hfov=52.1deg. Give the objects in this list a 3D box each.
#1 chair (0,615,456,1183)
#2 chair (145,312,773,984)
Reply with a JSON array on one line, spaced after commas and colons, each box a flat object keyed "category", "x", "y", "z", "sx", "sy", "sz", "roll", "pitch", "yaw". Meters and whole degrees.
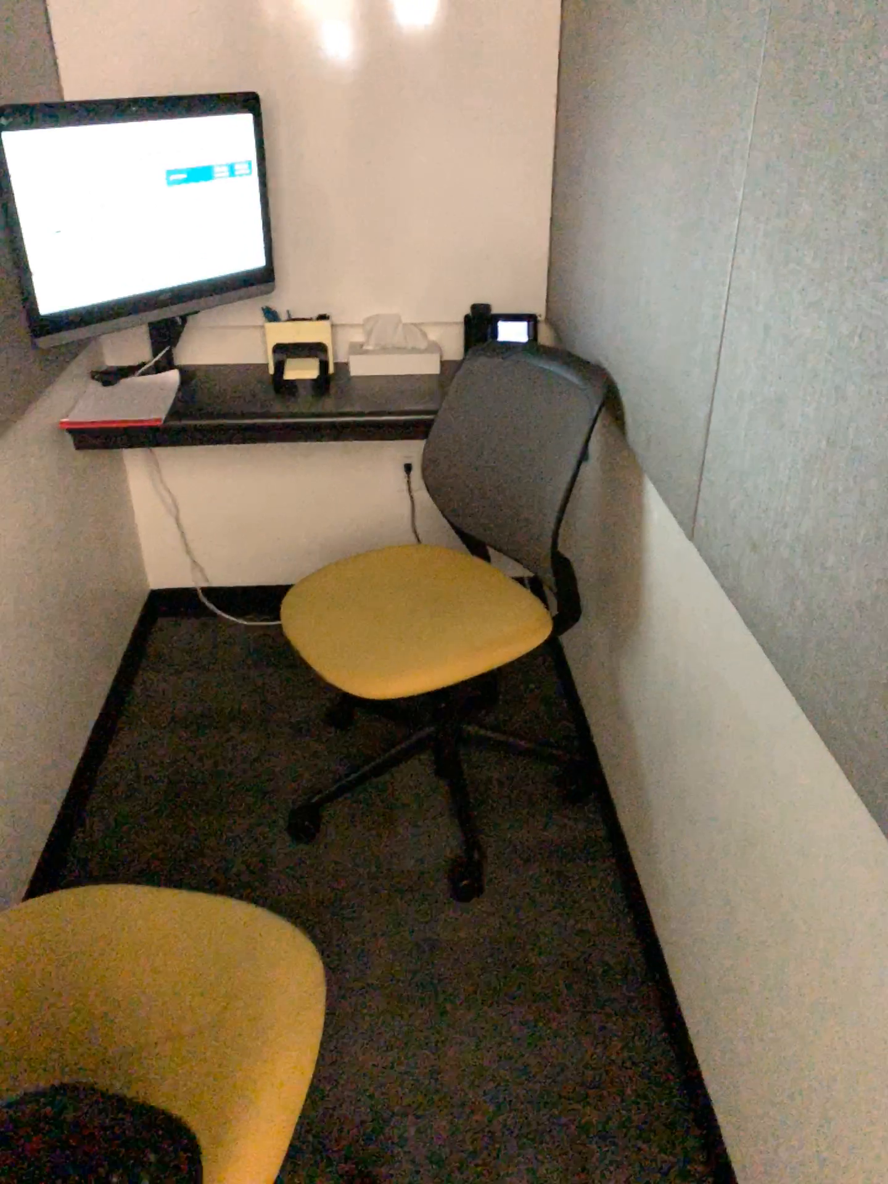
[{"category": "chair", "x": -0.323, "y": 0.562, "z": 0.810, "sx": 0.550, "sy": 0.845, "sz": 0.573, "roll": 7, "pitch": 31, "yaw": 11}, {"category": "chair", "x": 0.017, "y": 0.021, "z": 2.175, "sx": 0.952, "sy": 1.034, "sz": 0.924, "roll": -23, "pitch": 38, "yaw": -34}]
